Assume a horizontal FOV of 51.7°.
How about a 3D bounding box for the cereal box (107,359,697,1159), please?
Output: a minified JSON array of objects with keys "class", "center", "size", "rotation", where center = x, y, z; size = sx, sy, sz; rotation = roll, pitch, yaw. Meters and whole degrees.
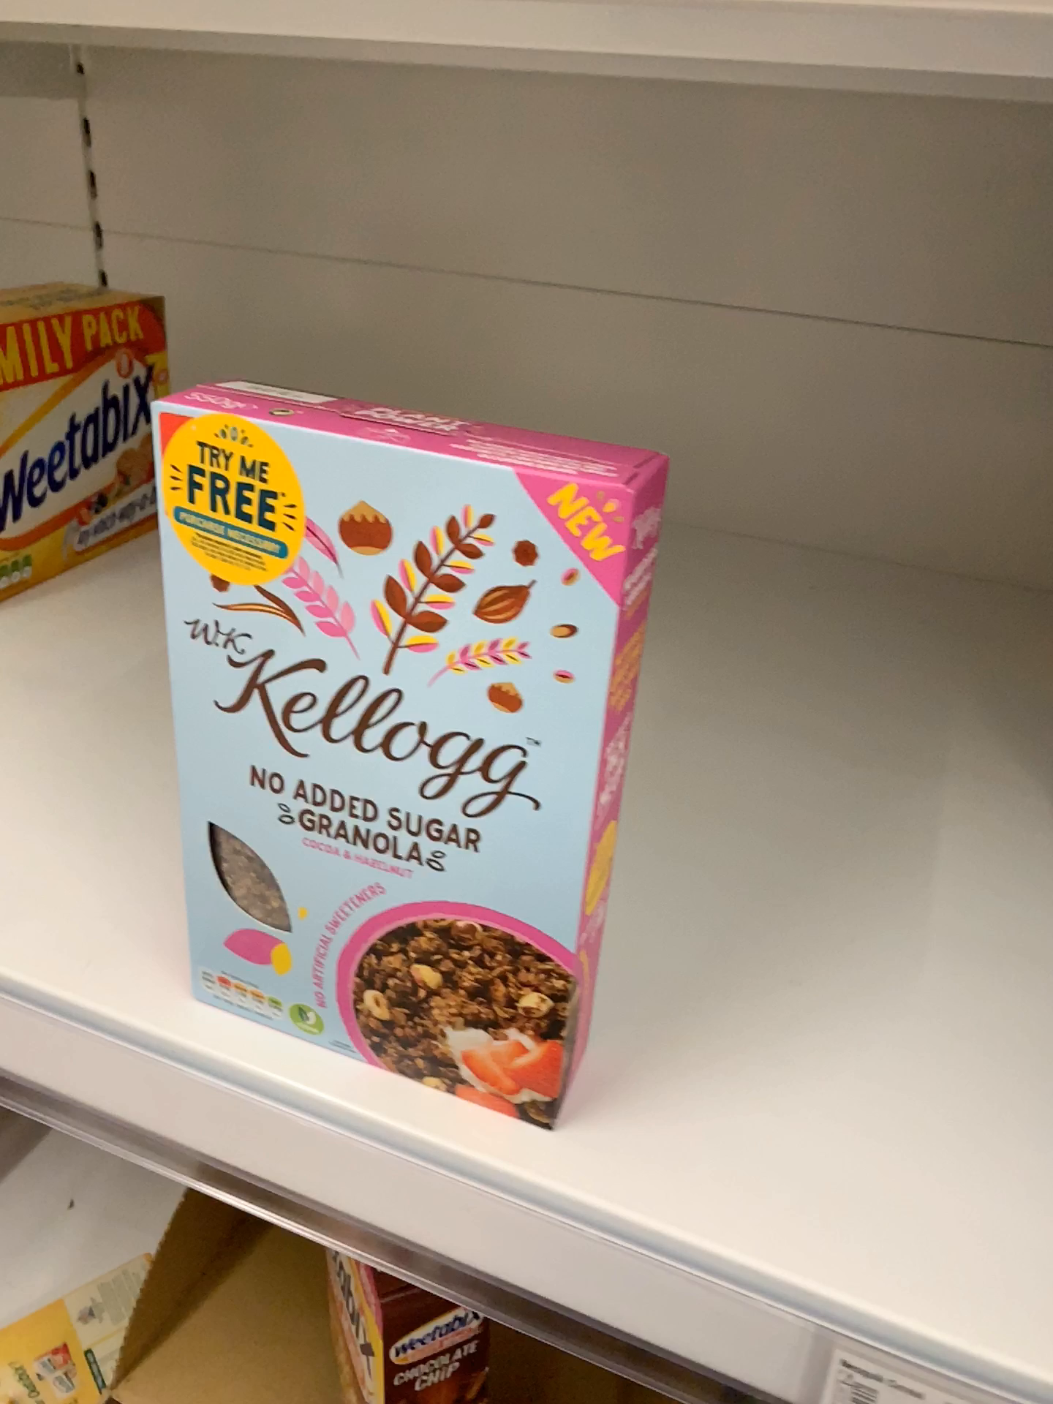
[{"class":"cereal box","center":[-0.047,0.024,0.379],"size":[0.170,0.248,0.050],"rotation":[14,29,18]}]
